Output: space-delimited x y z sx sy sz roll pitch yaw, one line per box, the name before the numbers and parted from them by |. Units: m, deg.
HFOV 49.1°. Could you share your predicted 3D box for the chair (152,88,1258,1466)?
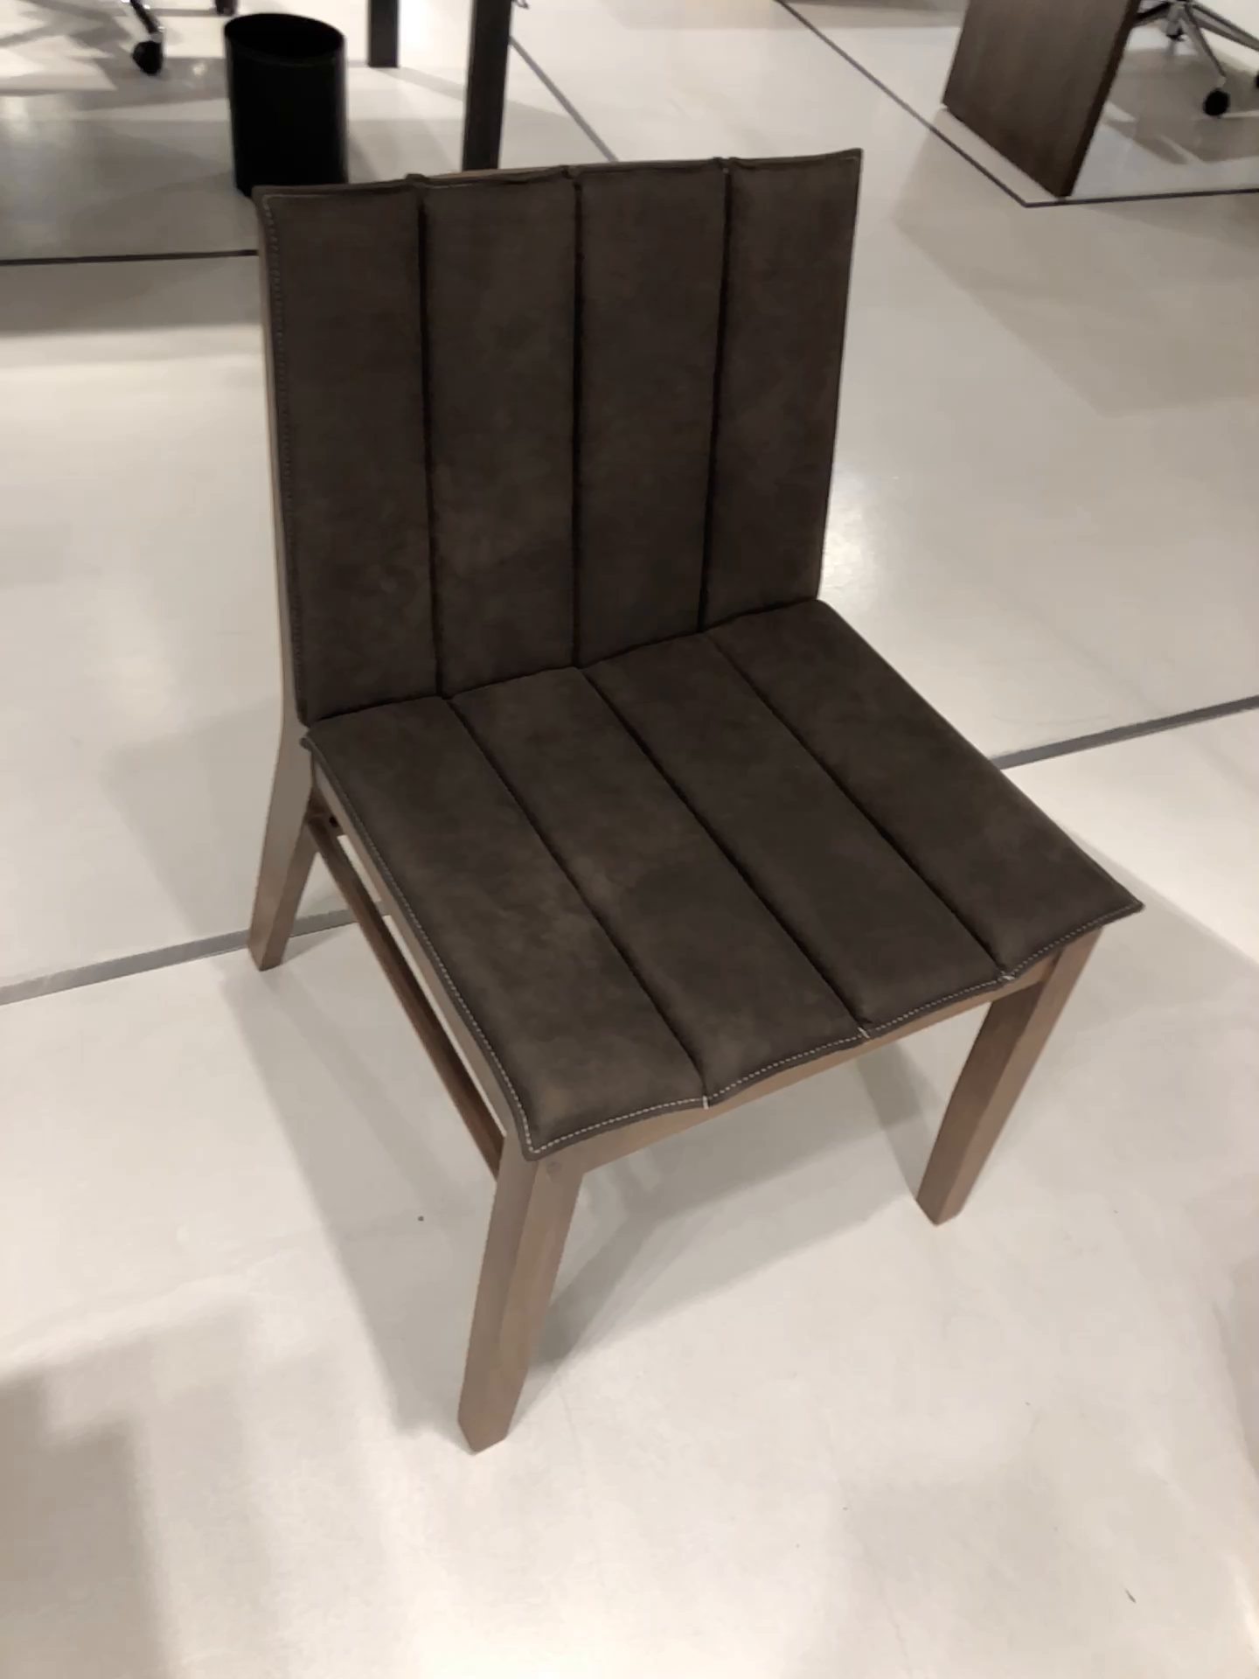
chair | 0.033 -0.033 1.060 0.541 0.775 0.572 -17 55 -23
